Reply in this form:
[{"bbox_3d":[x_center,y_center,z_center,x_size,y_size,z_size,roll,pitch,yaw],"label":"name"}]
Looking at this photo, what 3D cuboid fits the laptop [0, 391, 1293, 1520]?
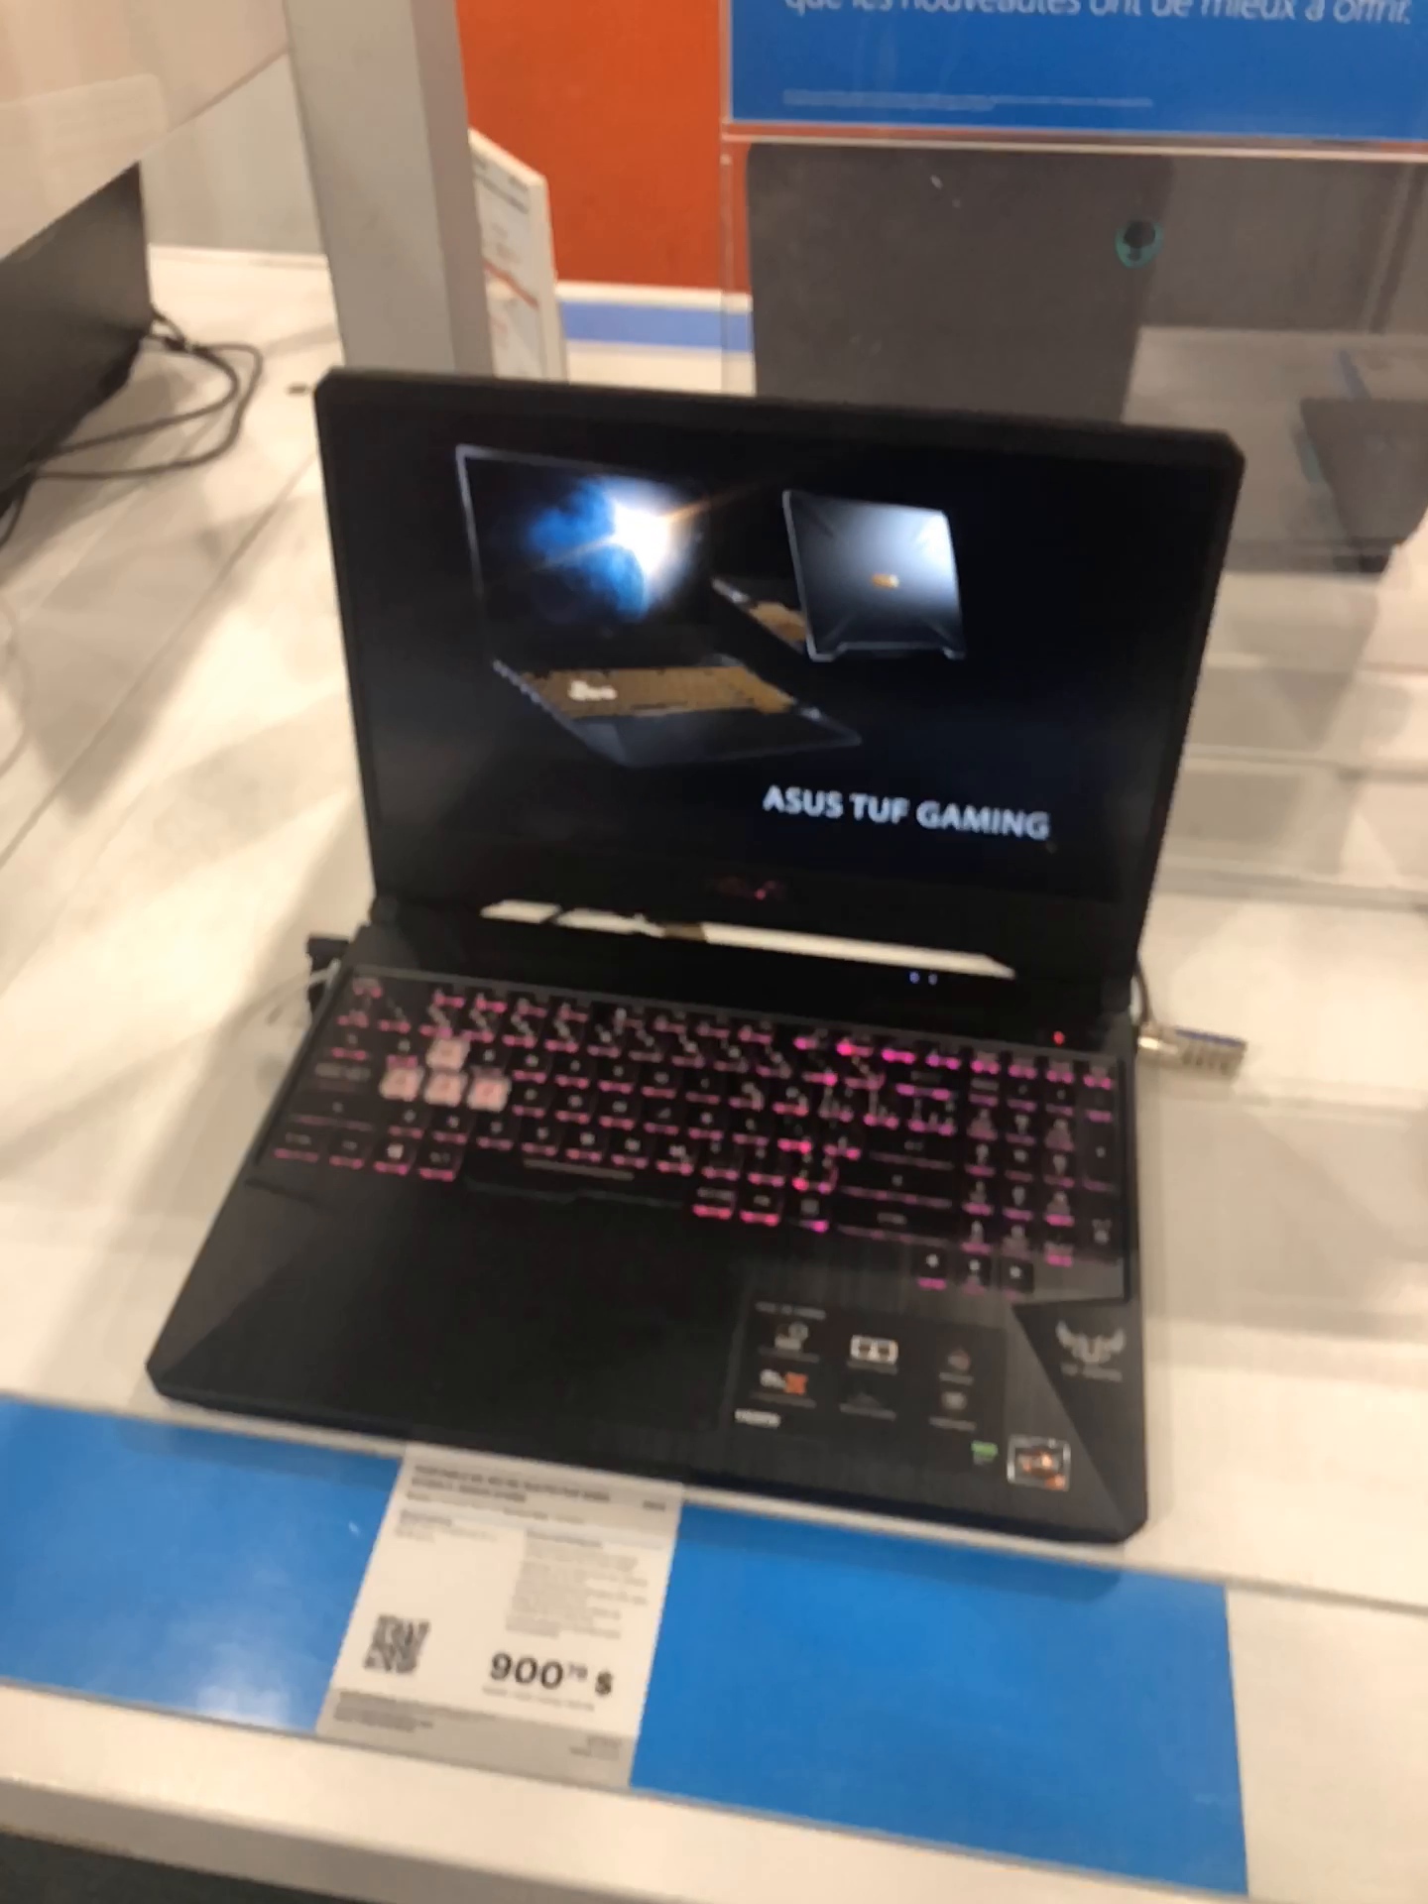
[{"bbox_3d":[-0.006,-0.016,0.581,0.350,0.235,0.302,6,44,7],"label":"laptop"}]
